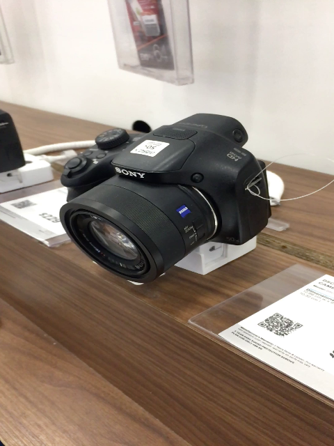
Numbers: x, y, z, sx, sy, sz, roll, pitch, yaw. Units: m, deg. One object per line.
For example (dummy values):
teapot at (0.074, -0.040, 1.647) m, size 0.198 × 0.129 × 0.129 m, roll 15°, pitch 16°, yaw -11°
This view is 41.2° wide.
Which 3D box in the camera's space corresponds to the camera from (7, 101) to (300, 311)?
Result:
camera at (-0.003, -0.020, 0.312) m, size 0.129 × 0.089 × 0.114 m, roll 24°, pitch 49°, yaw 38°
